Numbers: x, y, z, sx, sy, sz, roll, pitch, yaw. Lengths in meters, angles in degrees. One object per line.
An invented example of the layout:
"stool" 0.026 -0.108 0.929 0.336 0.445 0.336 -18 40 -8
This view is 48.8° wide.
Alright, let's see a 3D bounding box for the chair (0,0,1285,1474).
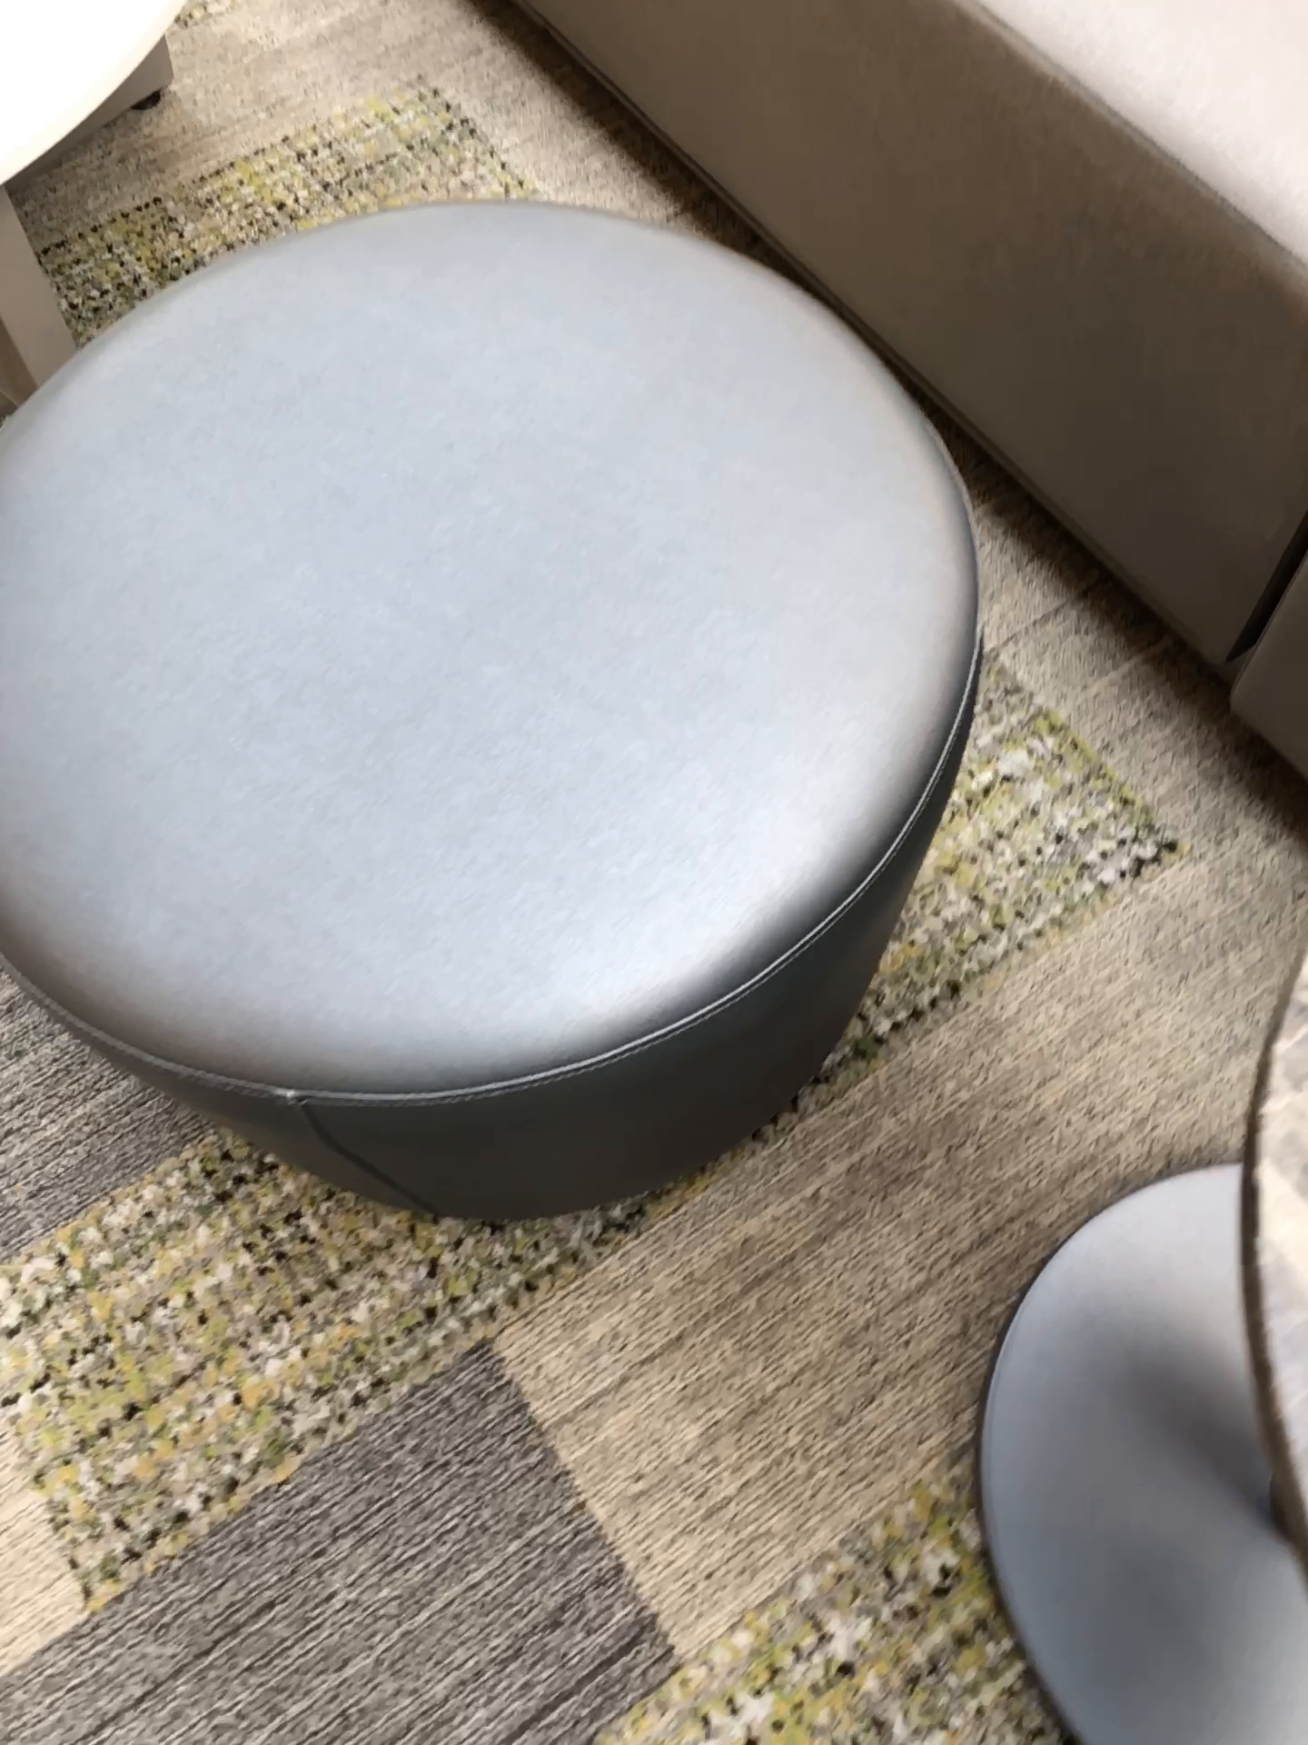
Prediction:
"chair" -0.111 -0.078 0.920 0.570 0.459 0.621 -28 66 -11
